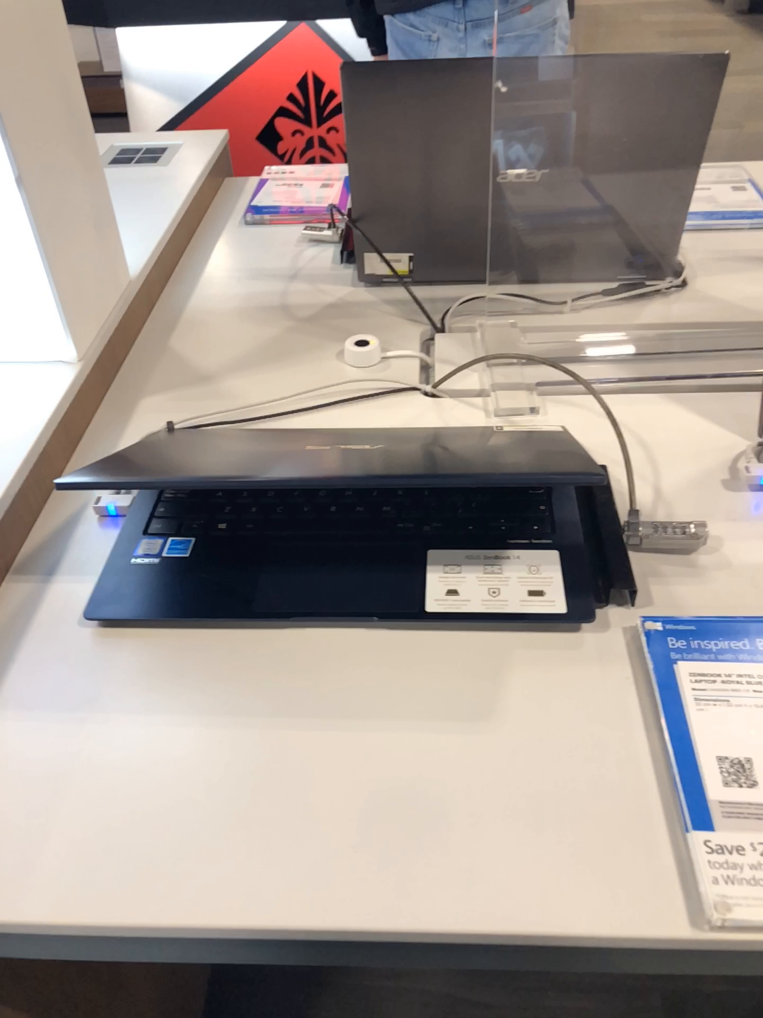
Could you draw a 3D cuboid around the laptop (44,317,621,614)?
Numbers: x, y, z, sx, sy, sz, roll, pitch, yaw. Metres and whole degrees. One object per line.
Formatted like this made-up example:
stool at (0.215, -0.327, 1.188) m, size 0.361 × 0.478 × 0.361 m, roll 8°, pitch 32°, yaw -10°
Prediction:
laptop at (-0.021, -0.038, 0.556) m, size 0.310 × 0.095 × 0.204 m, roll 0°, pitch 38°, yaw 4°
